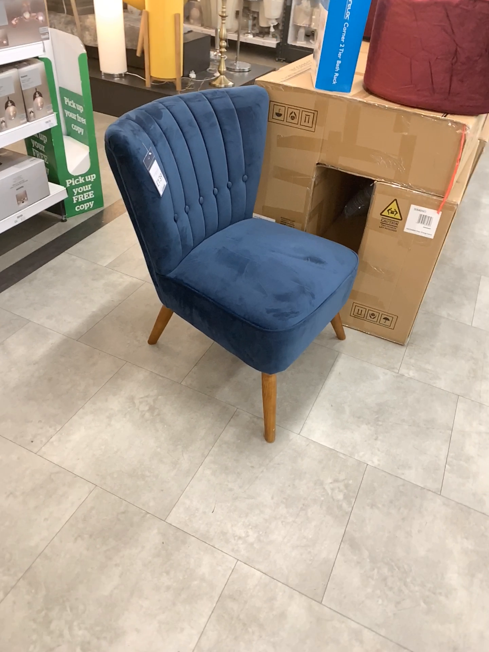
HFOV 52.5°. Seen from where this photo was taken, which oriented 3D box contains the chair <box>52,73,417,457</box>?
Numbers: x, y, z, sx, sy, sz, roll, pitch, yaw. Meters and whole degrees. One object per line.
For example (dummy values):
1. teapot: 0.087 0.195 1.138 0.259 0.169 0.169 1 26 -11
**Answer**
1. chair: -0.017 -0.239 1.574 0.722 0.792 0.695 24 43 21
